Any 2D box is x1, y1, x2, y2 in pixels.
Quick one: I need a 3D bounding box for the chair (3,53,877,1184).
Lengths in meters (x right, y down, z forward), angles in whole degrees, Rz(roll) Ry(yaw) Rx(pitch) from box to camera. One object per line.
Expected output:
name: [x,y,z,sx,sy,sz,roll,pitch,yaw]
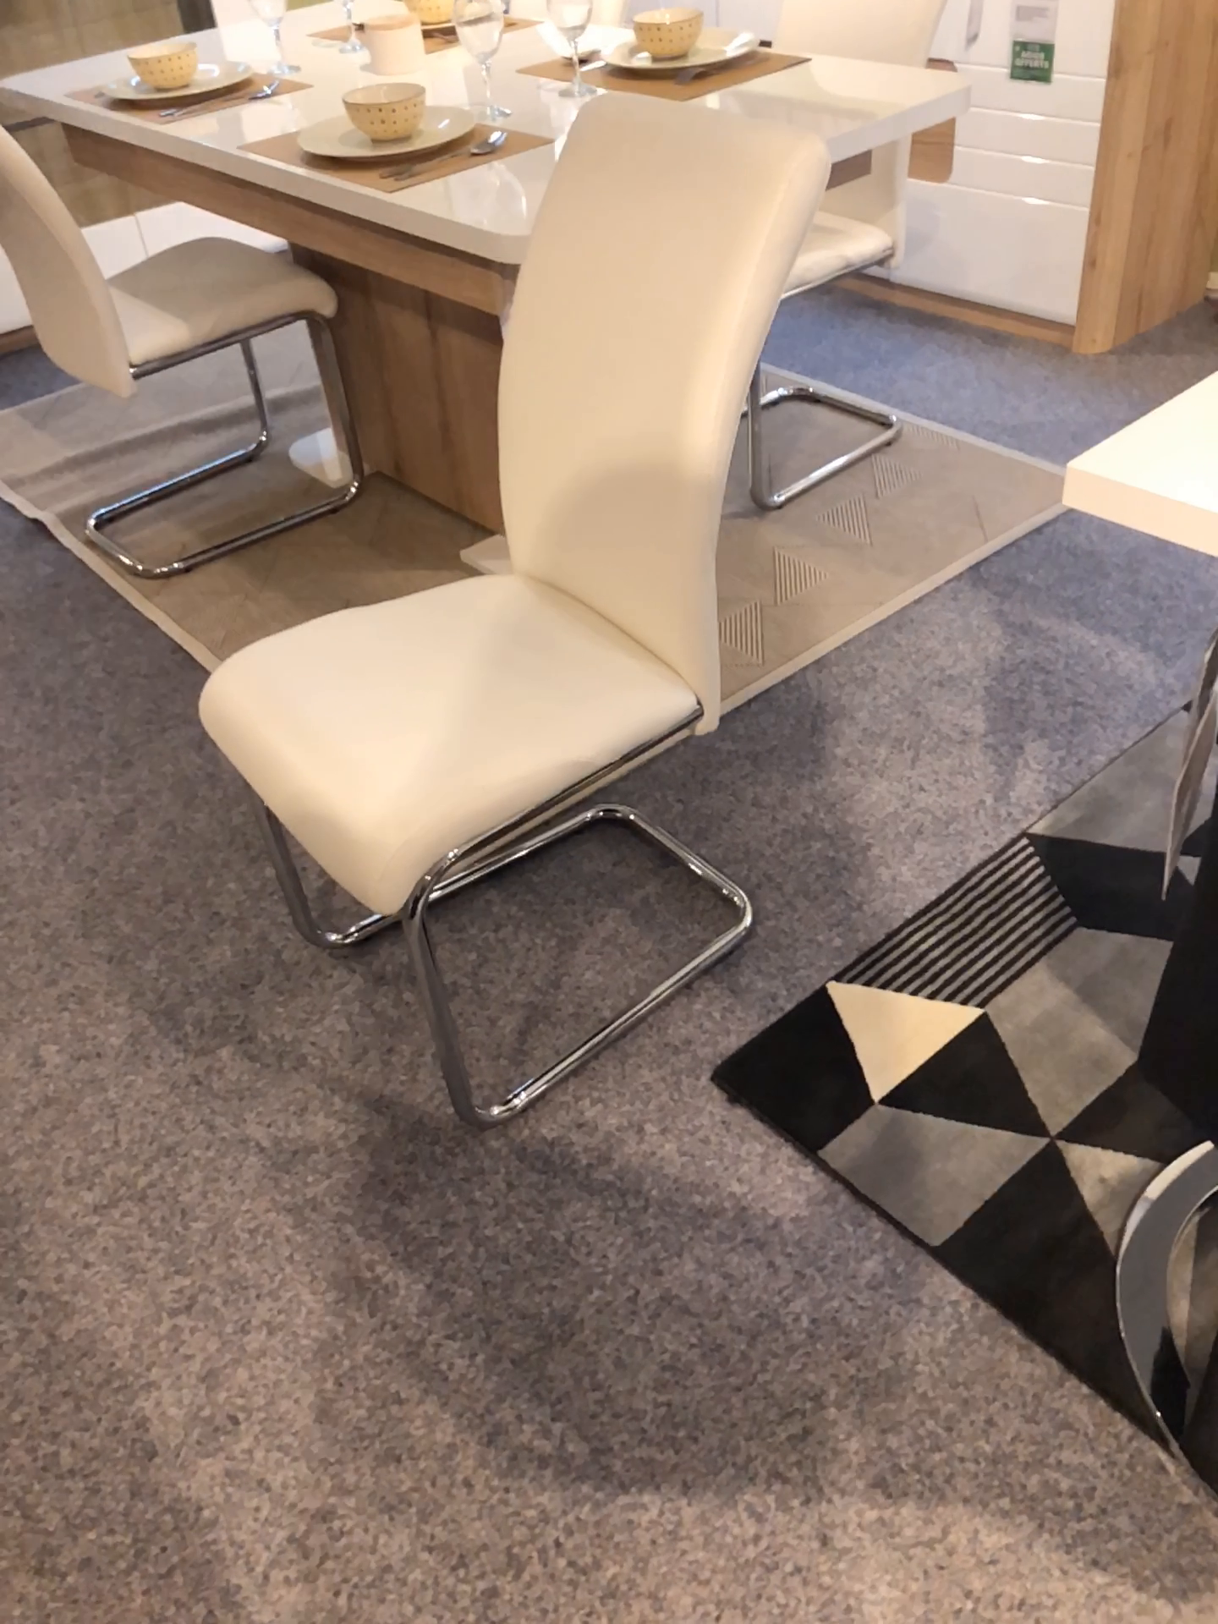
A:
chair: [-0.114,-0.201,1.404,0.552,0.925,0.501,-30,45,-27]
